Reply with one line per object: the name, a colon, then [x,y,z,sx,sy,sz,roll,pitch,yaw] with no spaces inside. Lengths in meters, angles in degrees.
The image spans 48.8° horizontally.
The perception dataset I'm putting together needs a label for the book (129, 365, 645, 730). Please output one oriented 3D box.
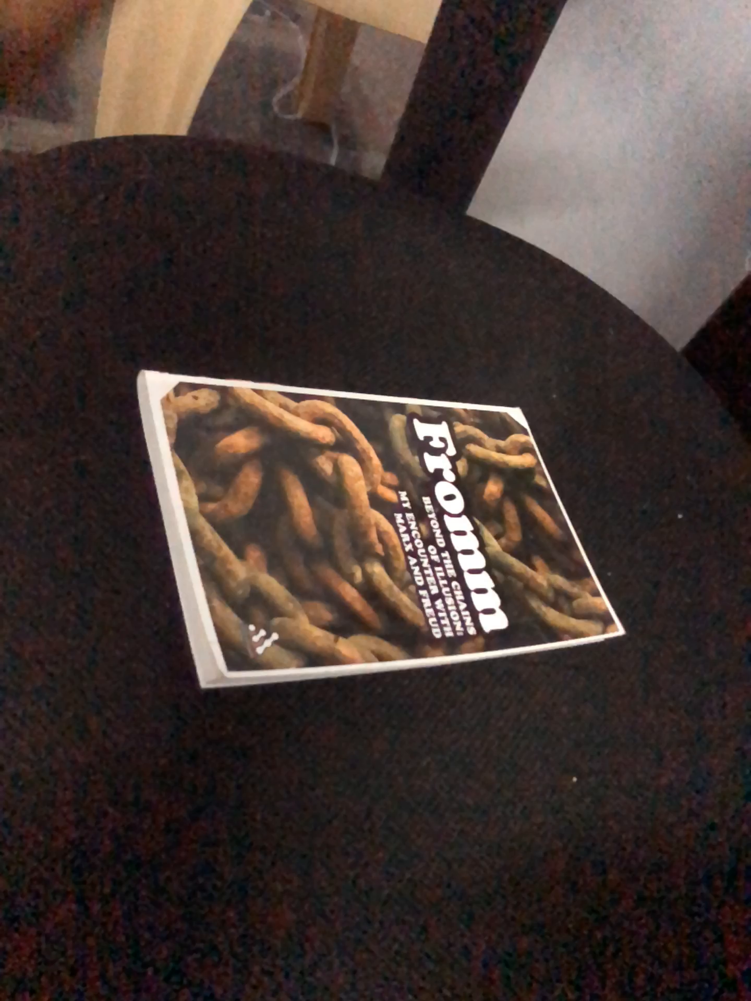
book: [0.007,0.011,0.345,0.195,0.016,0.144,1,55,-31]
